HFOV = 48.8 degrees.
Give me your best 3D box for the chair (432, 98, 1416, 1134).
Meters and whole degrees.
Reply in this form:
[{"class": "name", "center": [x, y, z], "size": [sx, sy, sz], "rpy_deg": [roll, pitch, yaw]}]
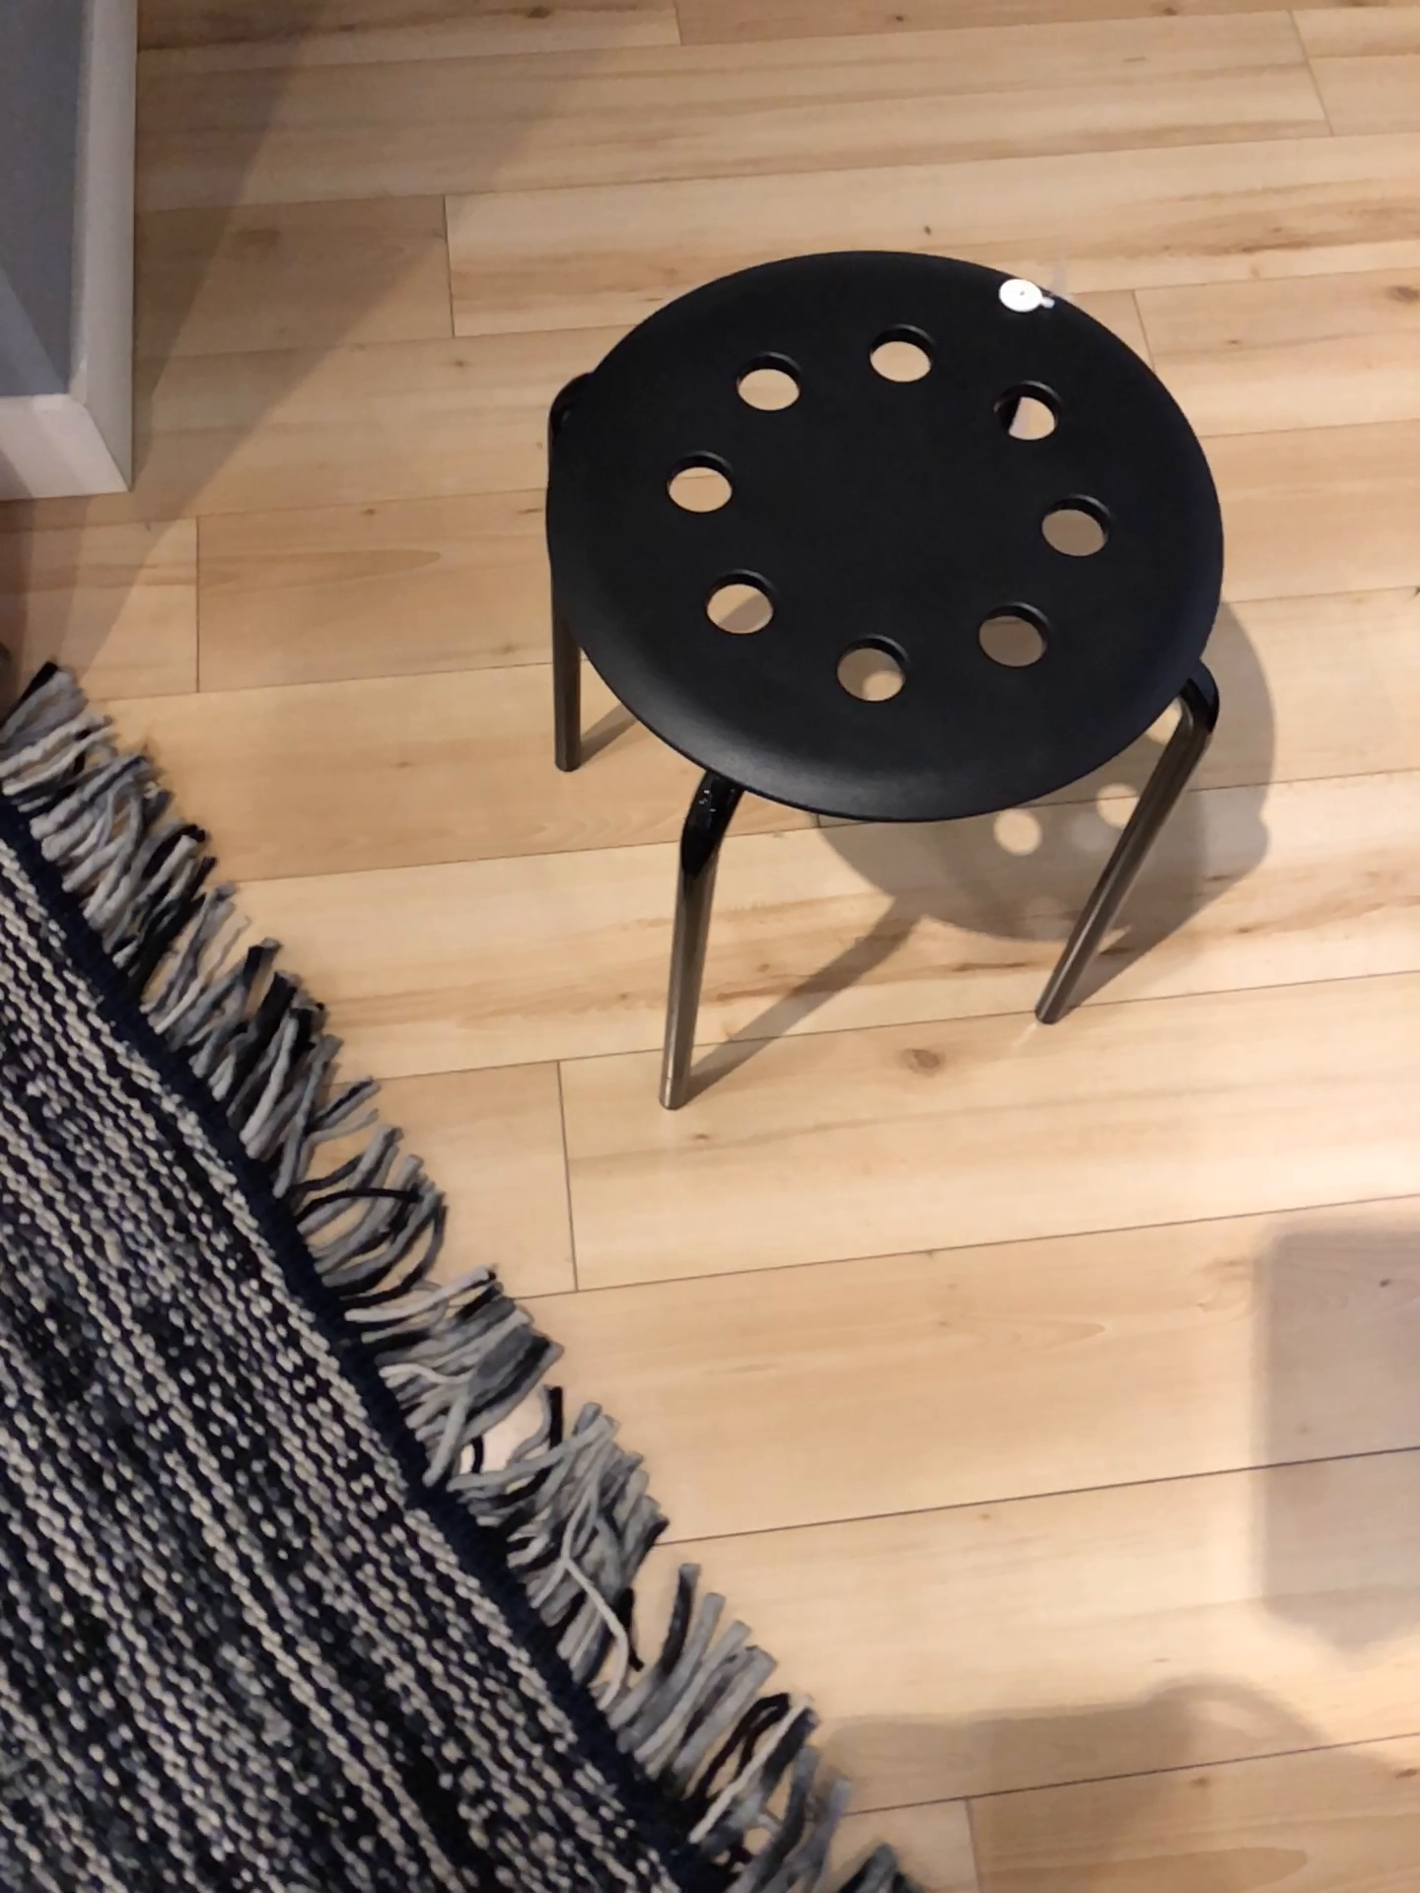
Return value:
[{"class": "chair", "center": [0.081, -0.162, 0.924], "size": [0.370, 0.400, 0.380], "rpy_deg": [-13, 70, -7]}]
